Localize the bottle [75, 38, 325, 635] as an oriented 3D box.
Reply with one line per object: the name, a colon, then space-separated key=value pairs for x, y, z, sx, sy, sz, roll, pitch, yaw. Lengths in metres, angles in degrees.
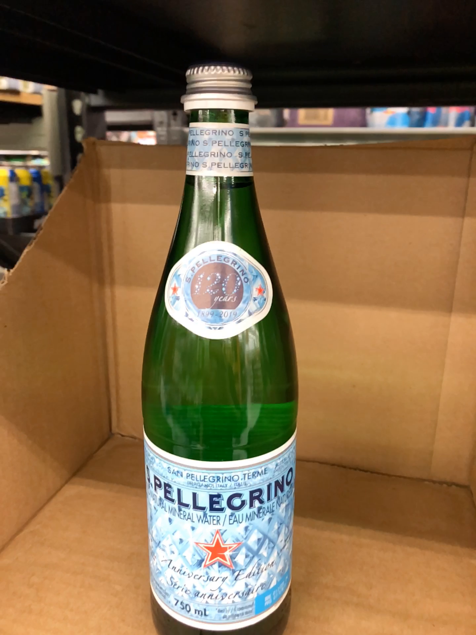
bottle: x=-0.010 y=0.033 z=0.246 sx=0.080 sy=0.278 sz=0.070 roll=4 pitch=17 yaw=13
